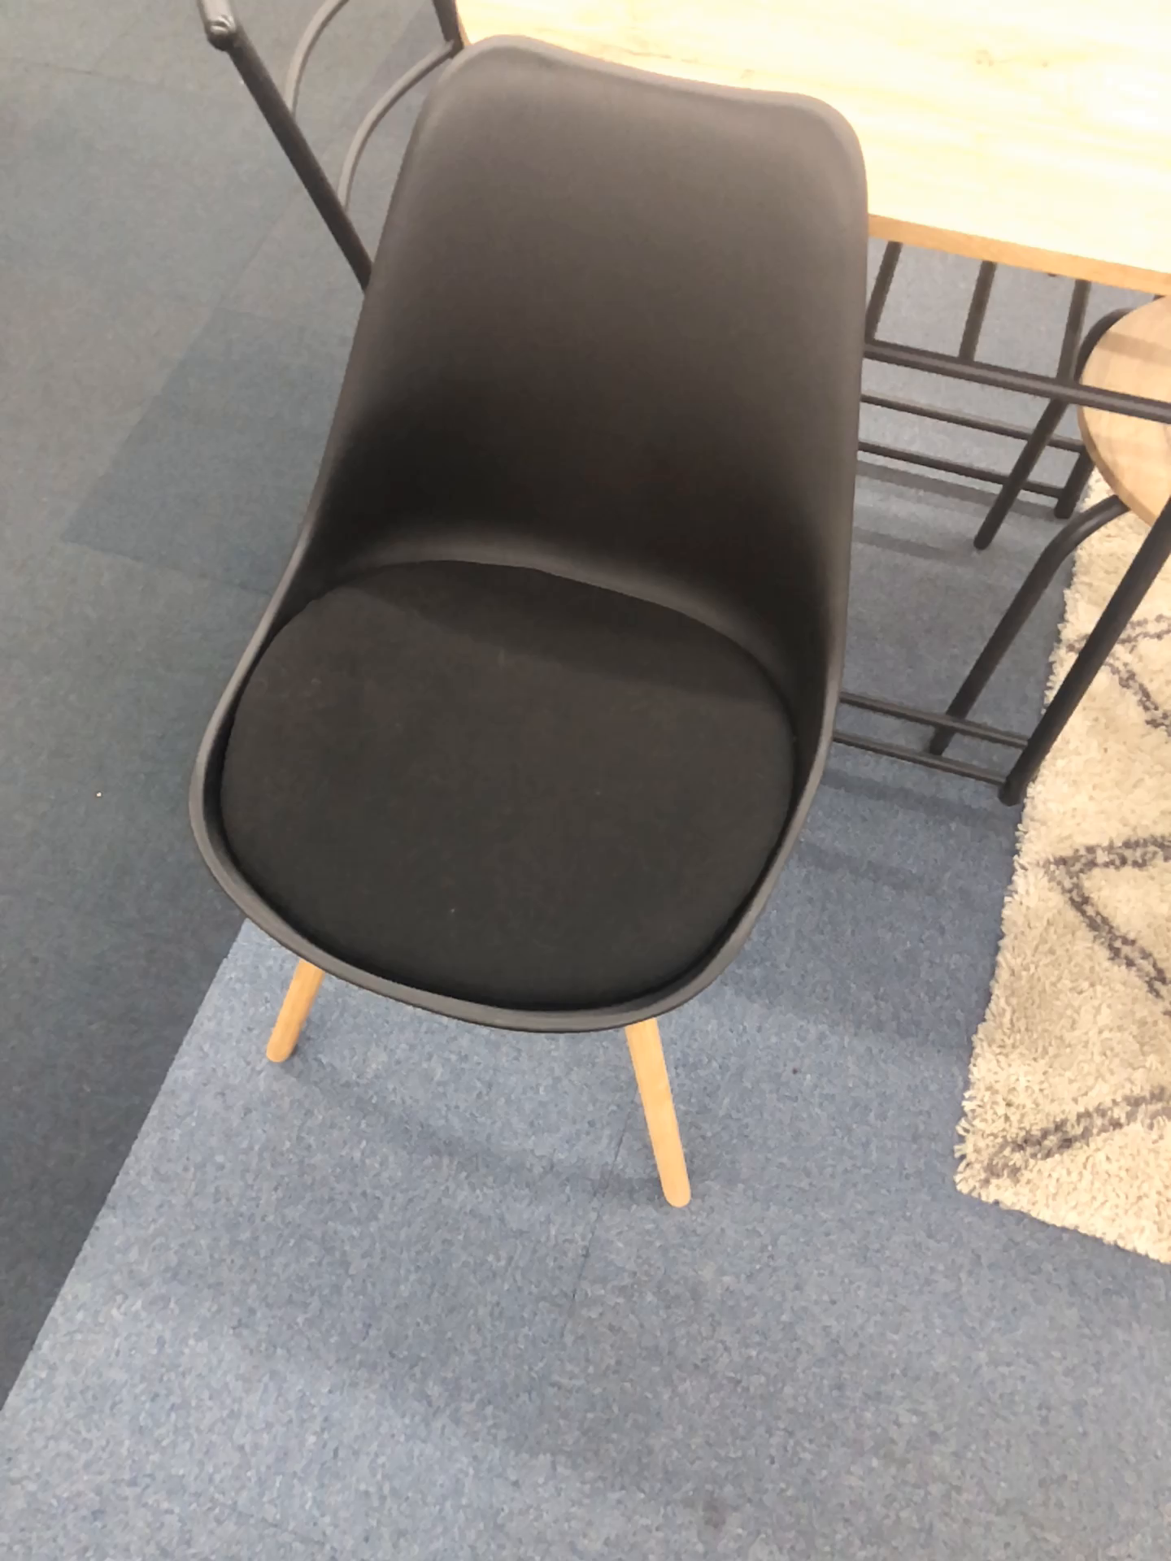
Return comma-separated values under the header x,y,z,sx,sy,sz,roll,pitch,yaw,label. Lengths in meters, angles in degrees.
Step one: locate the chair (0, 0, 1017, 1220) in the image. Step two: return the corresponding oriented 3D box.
x,y,z,sx,sy,sz,roll,pitch,yaw,label
-0.060,-0.056,1.042,0.490,0.858,0.501,17,62,10,chair
